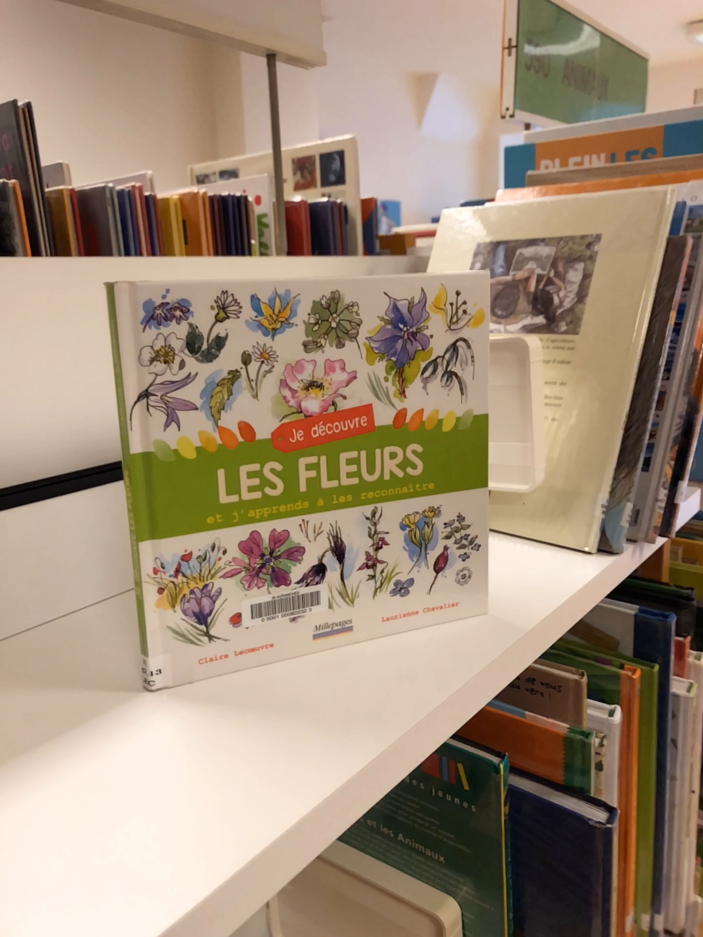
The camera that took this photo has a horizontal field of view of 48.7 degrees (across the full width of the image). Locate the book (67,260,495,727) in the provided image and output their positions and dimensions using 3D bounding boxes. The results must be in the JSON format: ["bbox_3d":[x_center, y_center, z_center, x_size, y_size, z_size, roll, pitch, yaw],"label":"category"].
[{"bbox_3d":[-0.032,-0.005,0.450,0.209,0.215,0.104,-10,13,-31],"label":"book"}]
